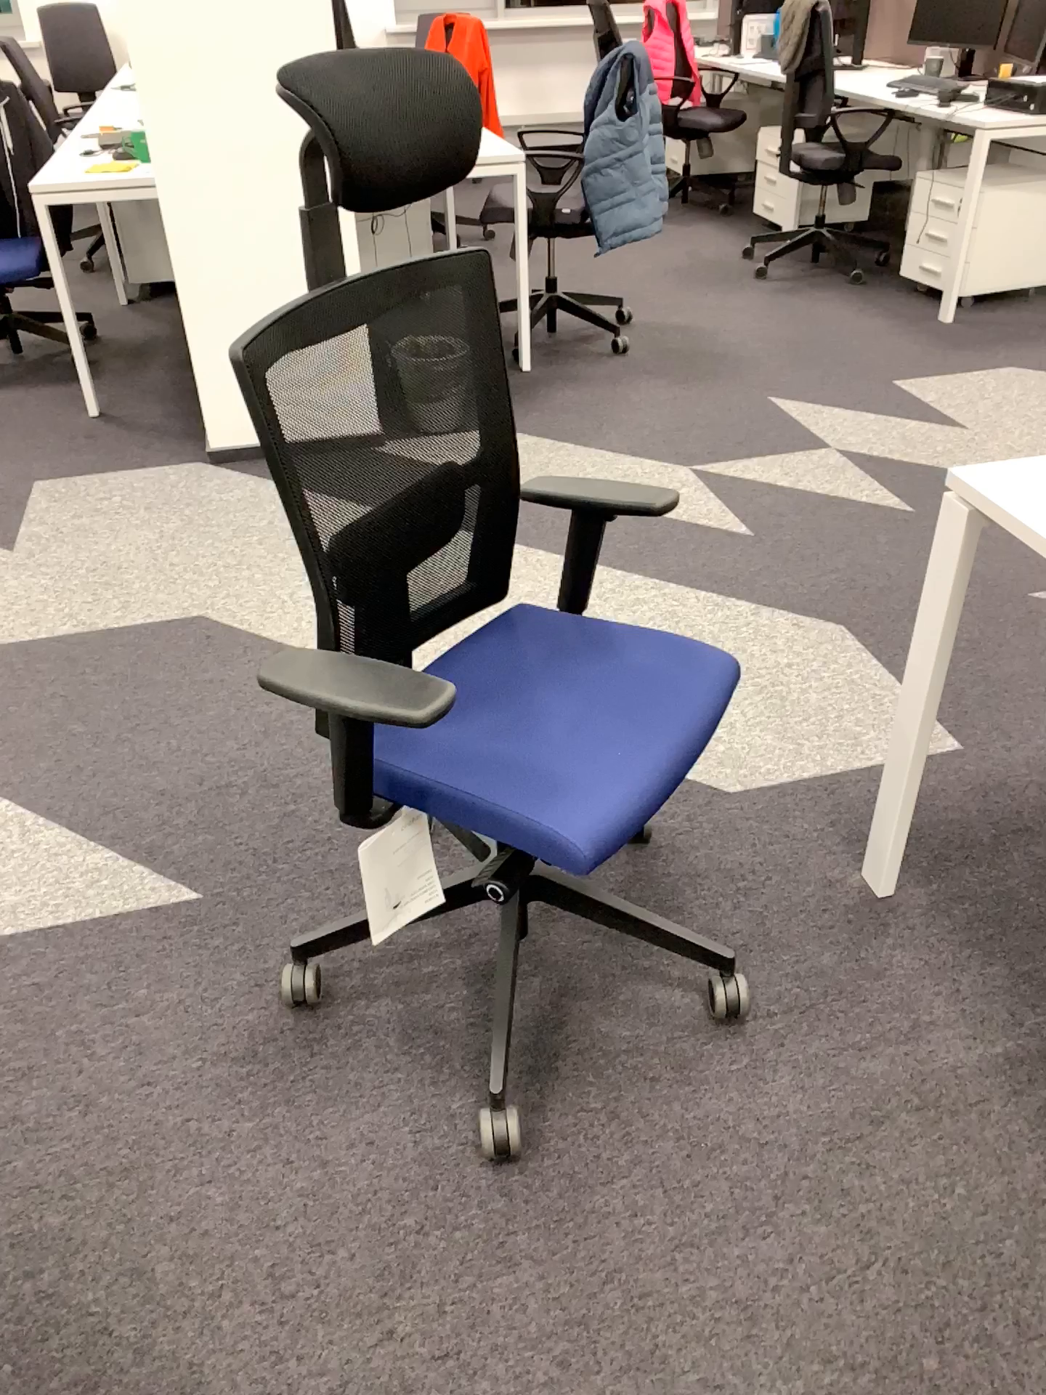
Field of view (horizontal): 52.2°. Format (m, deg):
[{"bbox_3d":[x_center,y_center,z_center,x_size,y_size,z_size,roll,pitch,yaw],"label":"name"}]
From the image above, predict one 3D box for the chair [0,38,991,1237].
[{"bbox_3d":[0.014,-0.109,1.409,0.671,1.243,0.733,23,42,31],"label":"chair"}]
